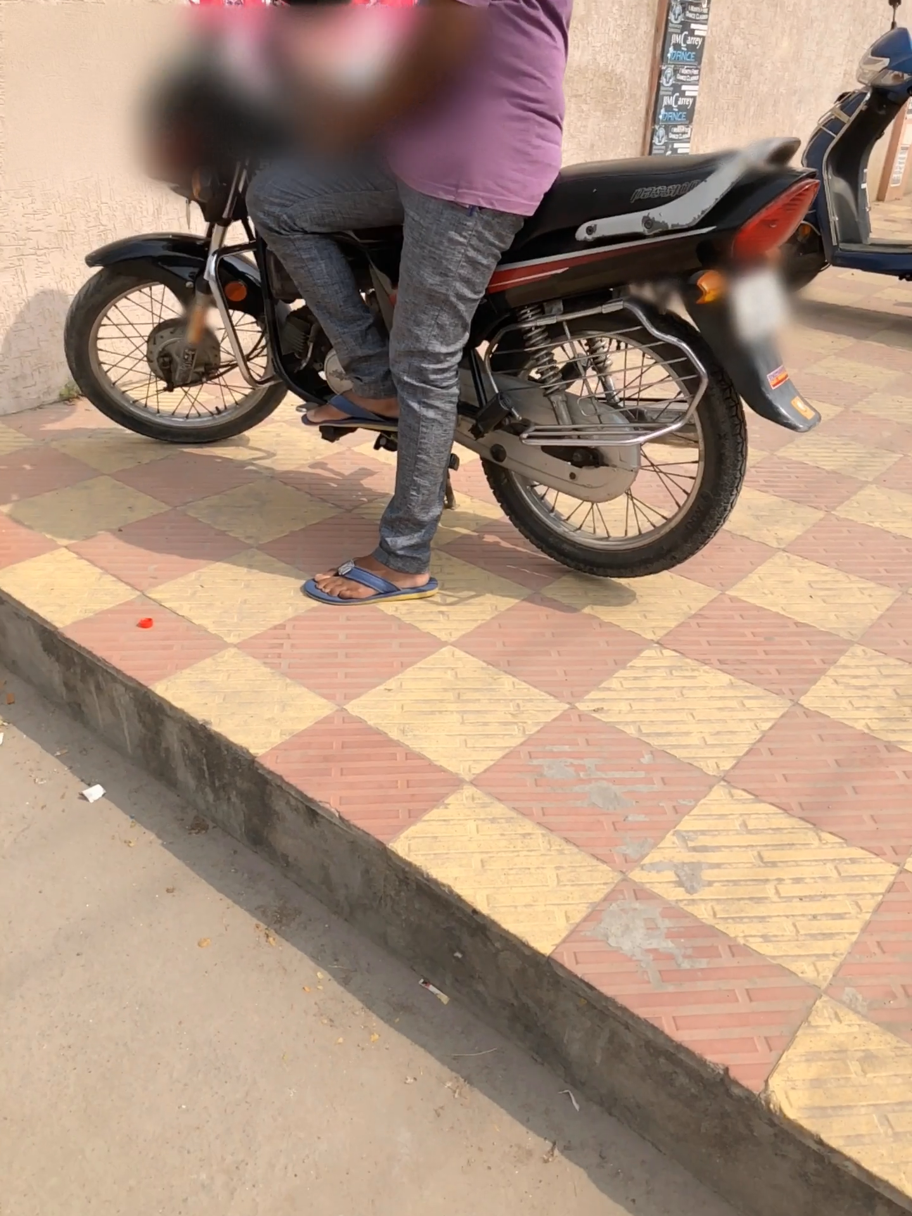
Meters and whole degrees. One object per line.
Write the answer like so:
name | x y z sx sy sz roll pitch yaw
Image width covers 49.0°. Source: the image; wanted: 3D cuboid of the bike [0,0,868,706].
bike | -0.237 -0.680 2.146 1.720 1.066 0.898 15 32 20
